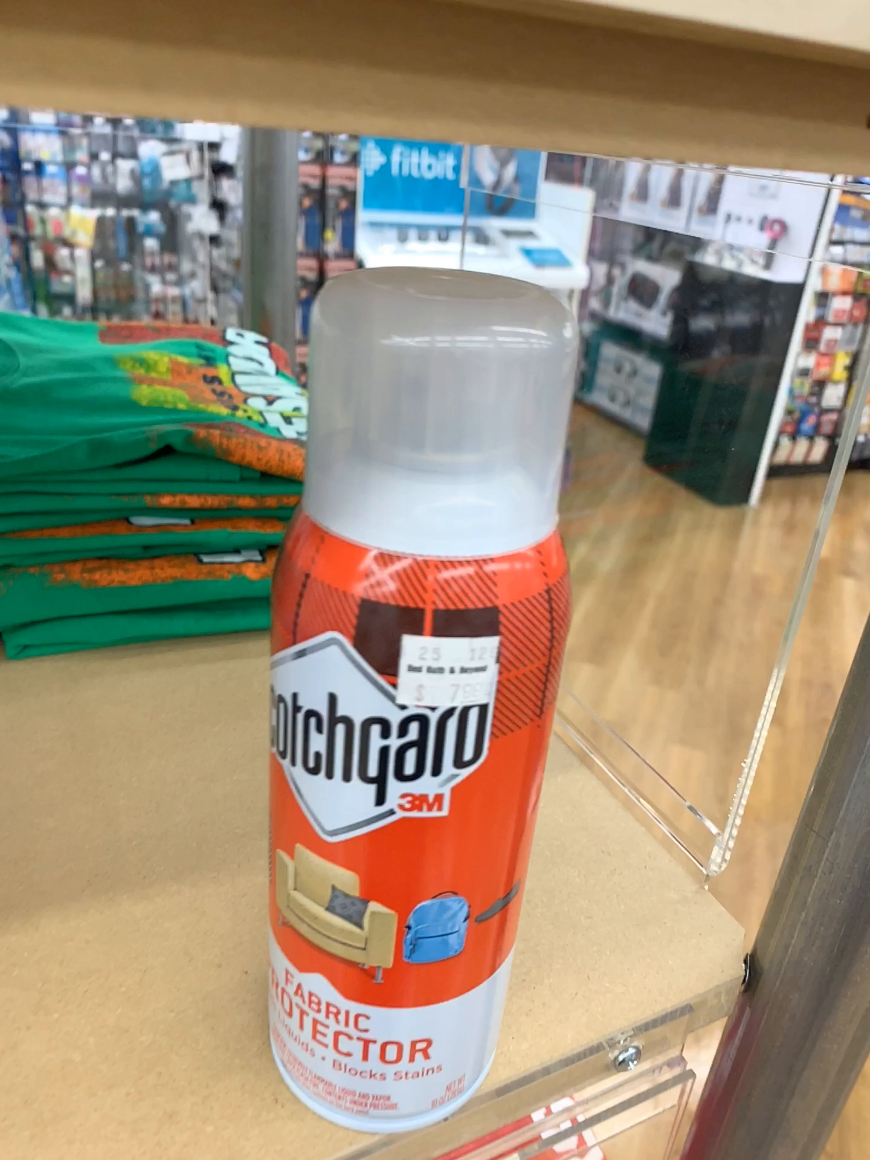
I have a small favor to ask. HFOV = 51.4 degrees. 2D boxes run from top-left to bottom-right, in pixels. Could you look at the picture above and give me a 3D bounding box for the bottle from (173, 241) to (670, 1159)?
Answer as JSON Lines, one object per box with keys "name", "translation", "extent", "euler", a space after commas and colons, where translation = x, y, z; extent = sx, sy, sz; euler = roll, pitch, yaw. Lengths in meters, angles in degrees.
{"name": "bottle", "translation": [-0.008, 0.035, 0.215], "extent": [0.069, 0.205, 0.067], "euler": [4, 27, -2]}
